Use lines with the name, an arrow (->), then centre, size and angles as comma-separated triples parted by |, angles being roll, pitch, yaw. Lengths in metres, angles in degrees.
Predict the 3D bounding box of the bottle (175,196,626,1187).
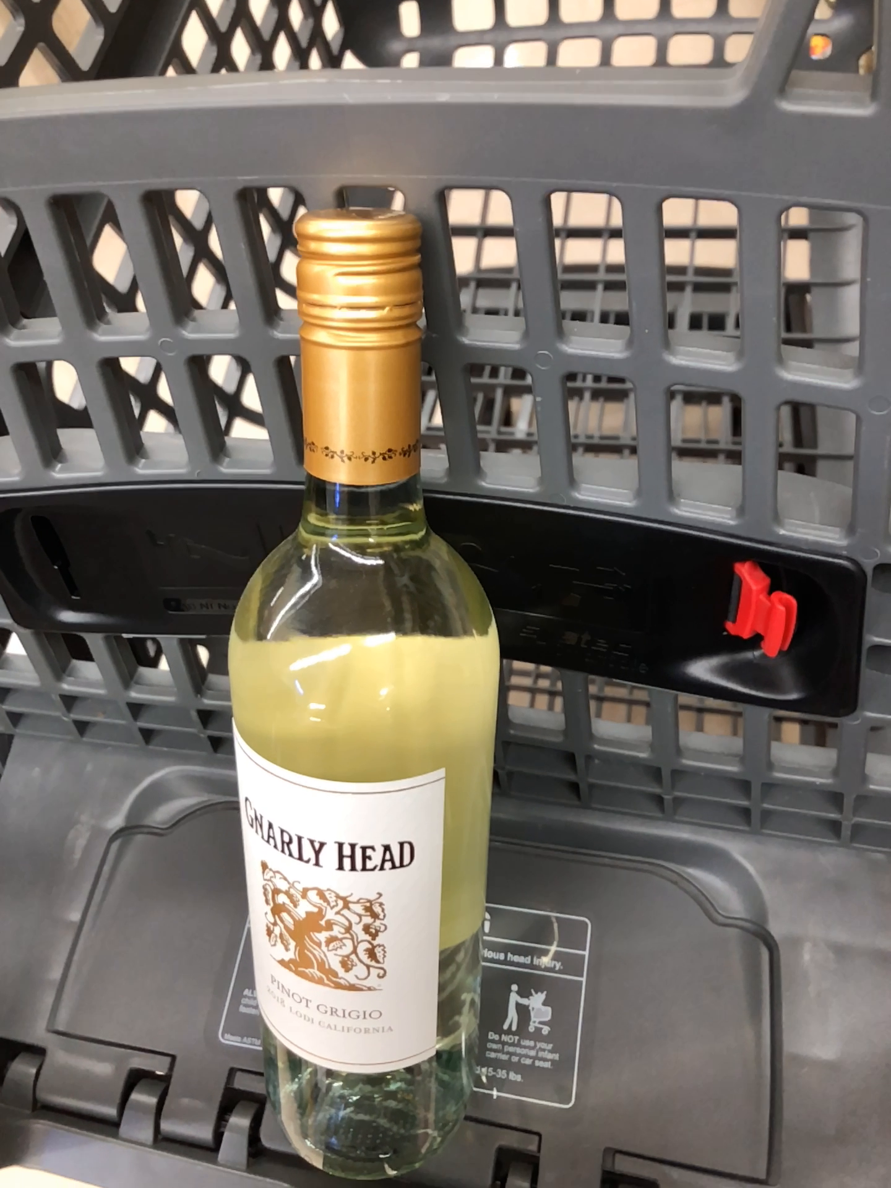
bottle -> -0.013, 0.044, 0.273 | 0.080, 0.070, 0.280 | 10, 114, 15
